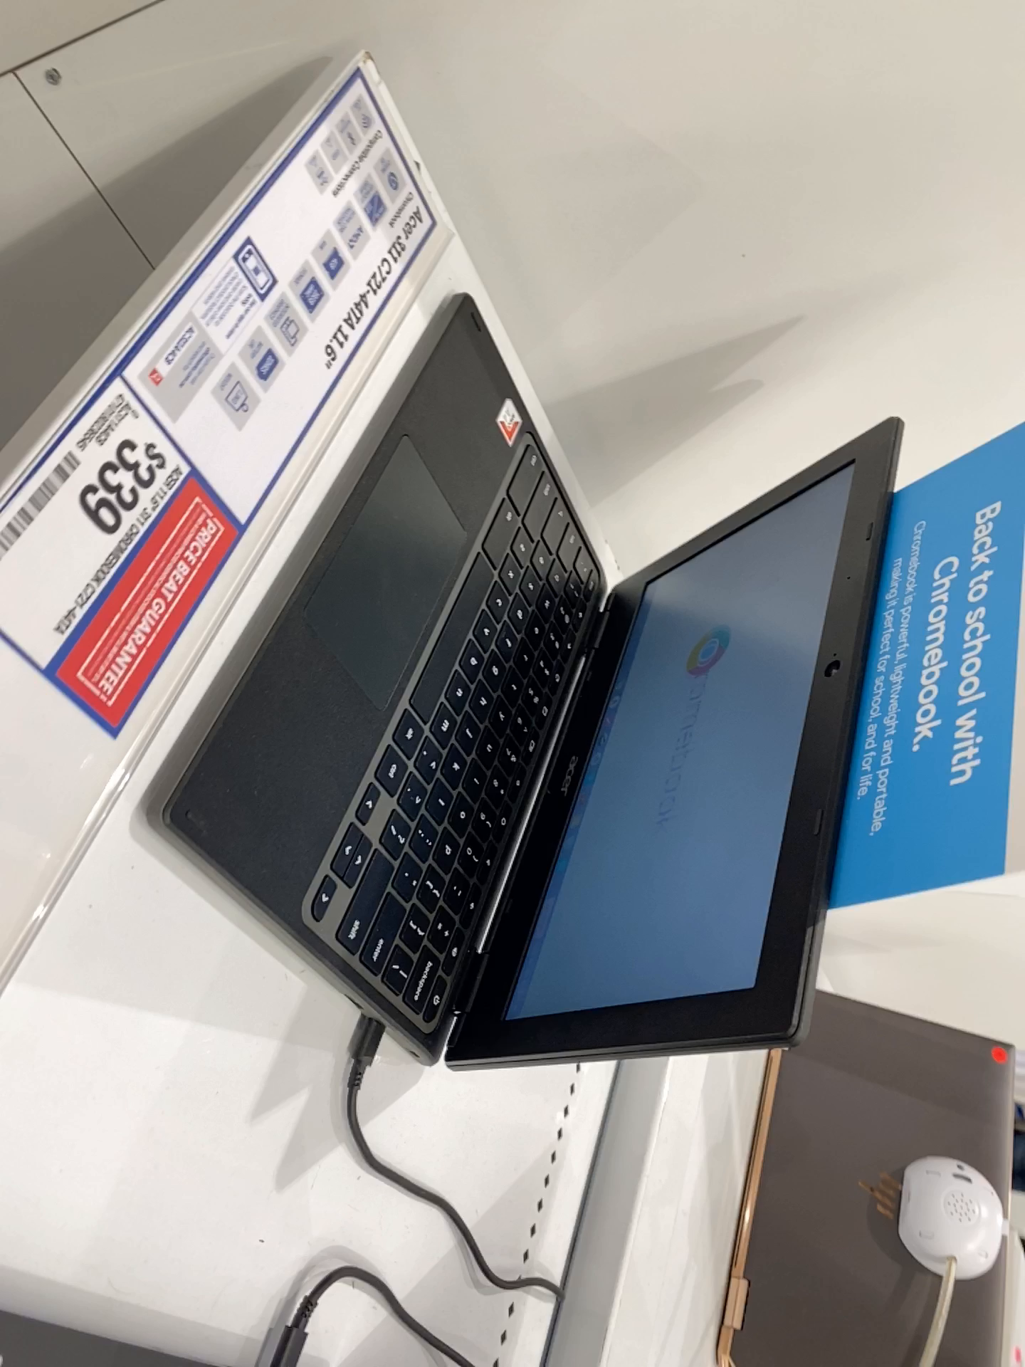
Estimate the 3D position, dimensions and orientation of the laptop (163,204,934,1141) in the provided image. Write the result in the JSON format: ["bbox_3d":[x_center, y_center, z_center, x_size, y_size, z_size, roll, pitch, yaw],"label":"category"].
[{"bbox_3d":[0.052,-0.008,0.437,0.201,0.180,0.290,57,43,-42],"label":"laptop"}]
